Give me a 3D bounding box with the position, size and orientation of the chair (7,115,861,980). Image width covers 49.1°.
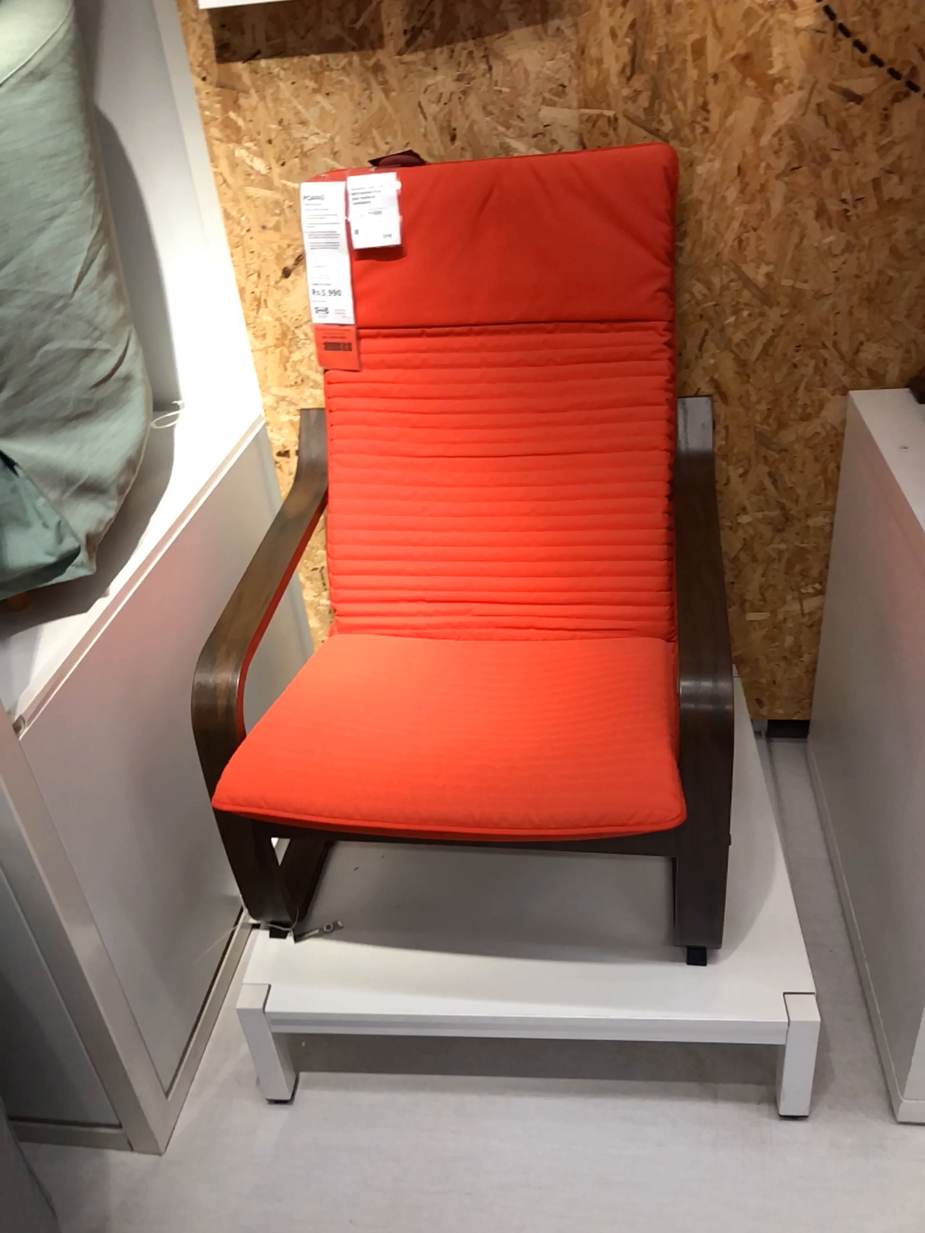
[{"bbox_3d":[0.046,-0.132,1.439,0.750,0.894,0.795,0,33,10],"label":"chair"}]
